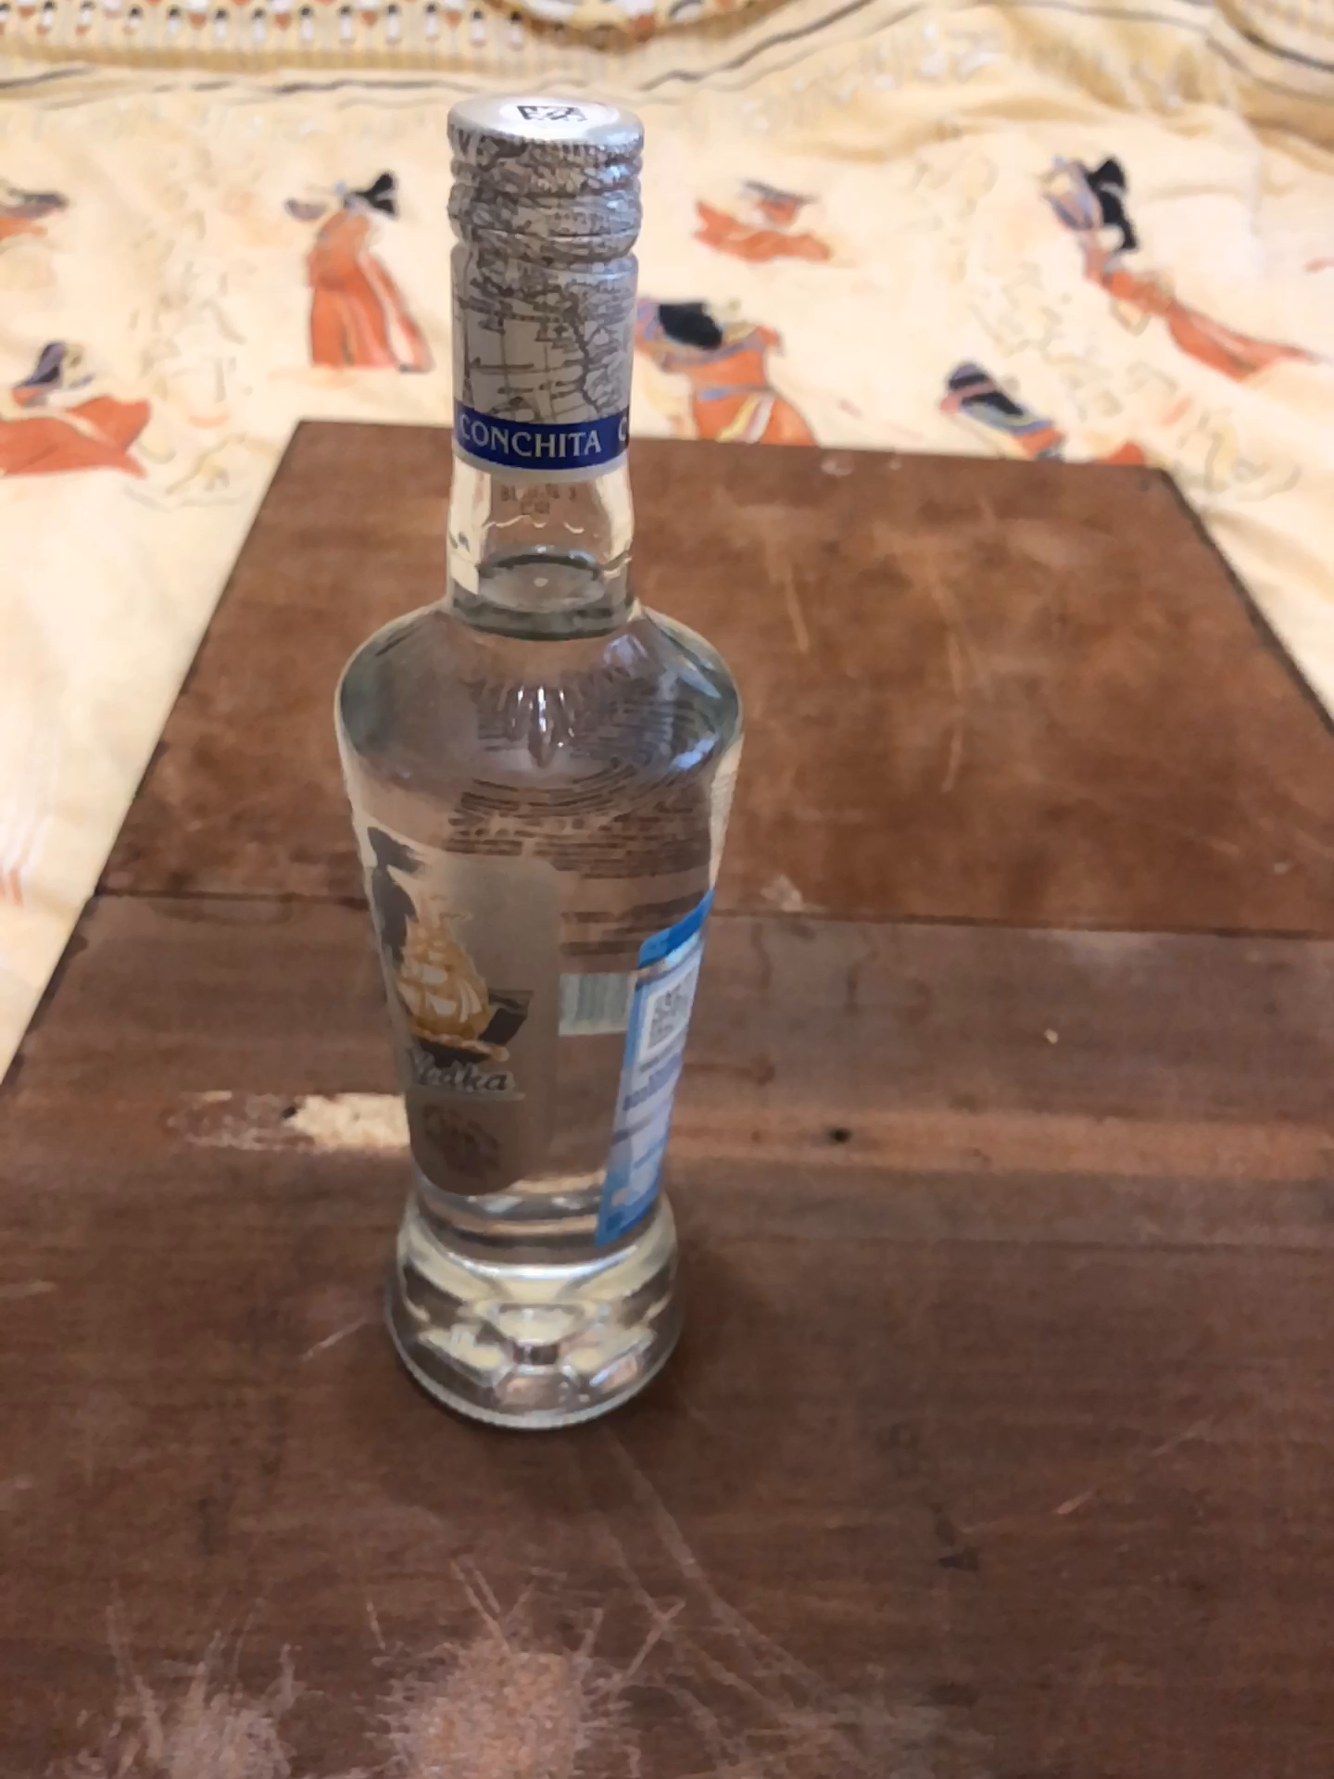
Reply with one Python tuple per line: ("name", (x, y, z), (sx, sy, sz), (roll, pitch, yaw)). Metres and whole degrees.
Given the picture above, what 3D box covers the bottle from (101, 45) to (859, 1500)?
("bottle", (-0.031, -0.001, 0.293), (0.075, 0.273, 0.077), (1, 39, -1))
